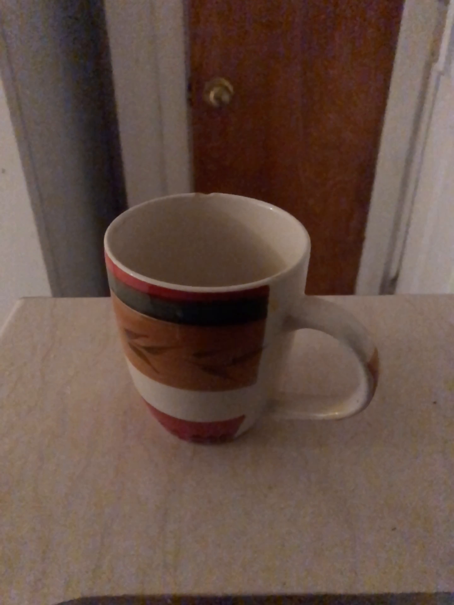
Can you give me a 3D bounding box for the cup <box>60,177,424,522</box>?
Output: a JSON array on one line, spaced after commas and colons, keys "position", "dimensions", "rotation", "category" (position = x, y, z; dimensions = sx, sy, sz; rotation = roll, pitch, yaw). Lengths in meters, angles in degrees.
[{"position": [0.011, 0.013, 0.268], "dimensions": [0.143, 0.109, 0.101], "rotation": [15, 37, 21], "category": "cup"}]
